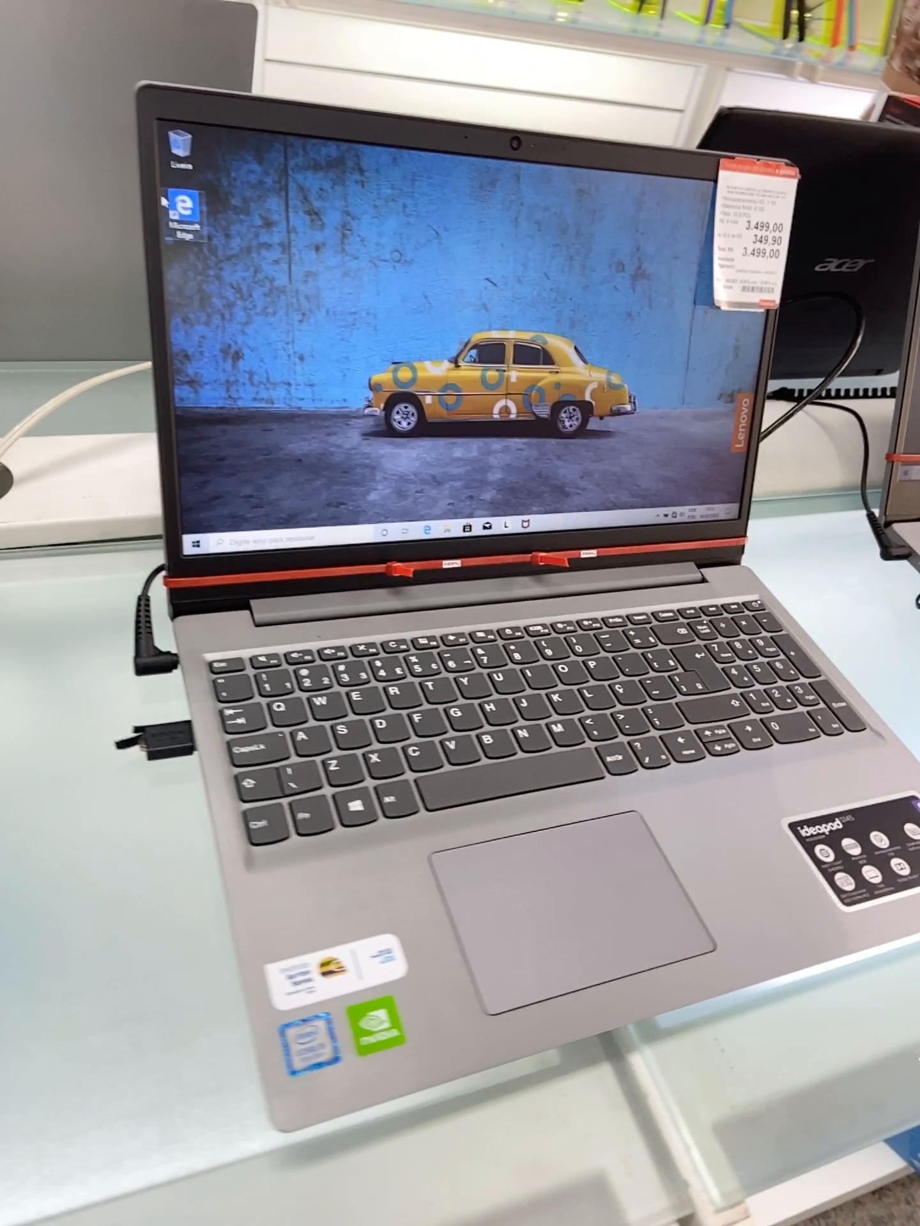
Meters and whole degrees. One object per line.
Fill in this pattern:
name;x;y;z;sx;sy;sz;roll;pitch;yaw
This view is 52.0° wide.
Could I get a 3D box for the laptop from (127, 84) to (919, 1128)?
laptop;0.064;-0.047;0.429;0.365;0.214;0.353;-6;44;-22
